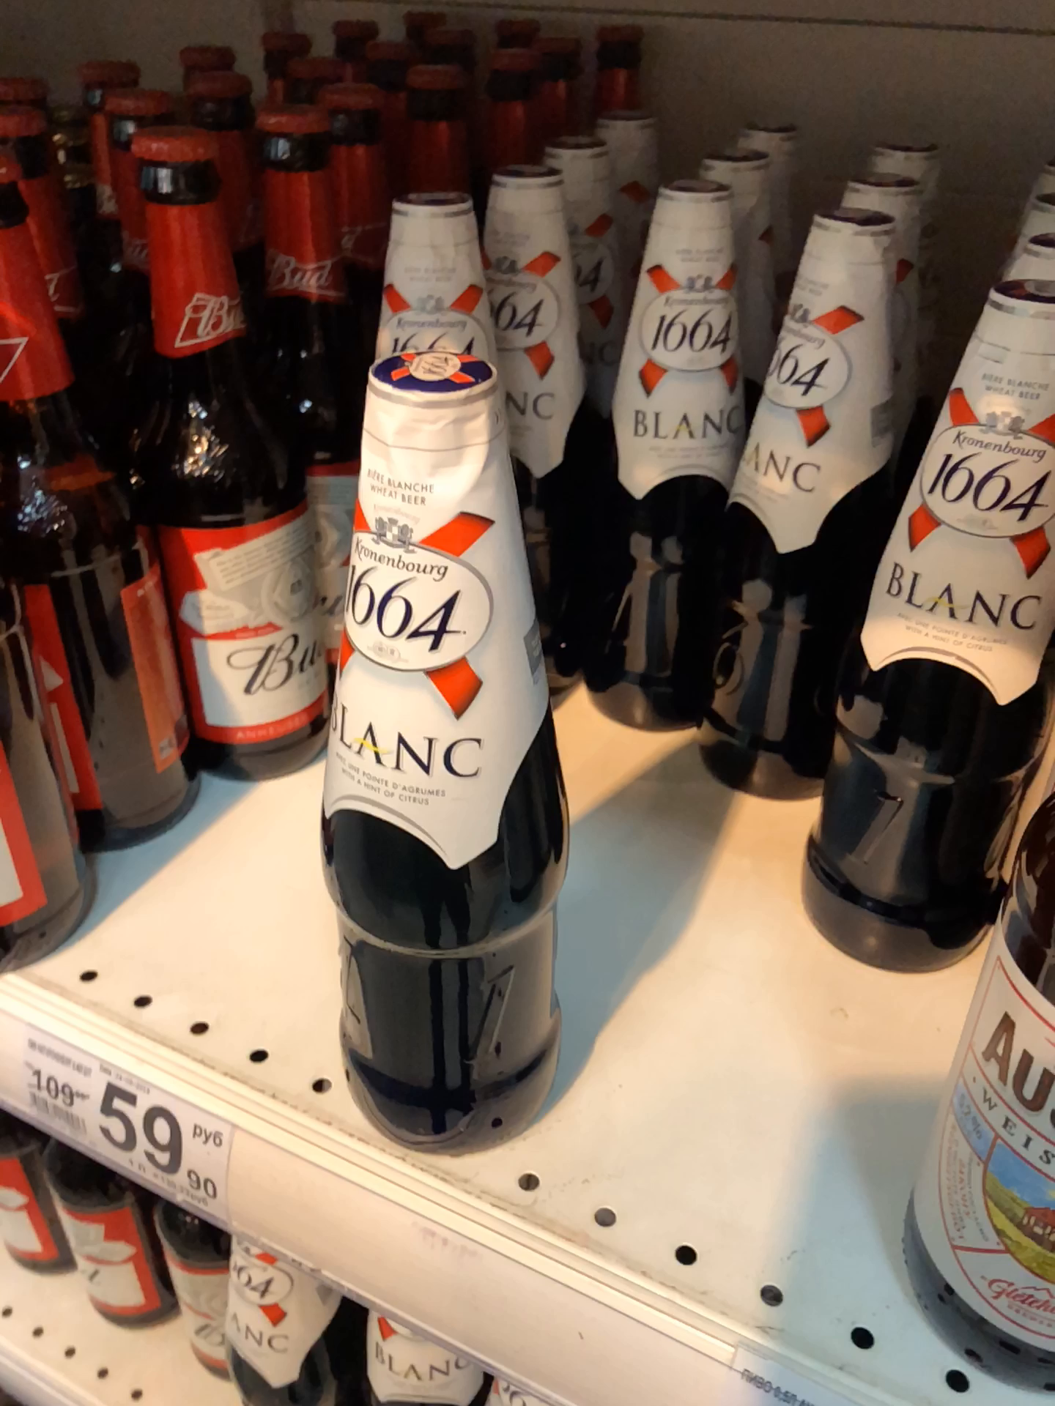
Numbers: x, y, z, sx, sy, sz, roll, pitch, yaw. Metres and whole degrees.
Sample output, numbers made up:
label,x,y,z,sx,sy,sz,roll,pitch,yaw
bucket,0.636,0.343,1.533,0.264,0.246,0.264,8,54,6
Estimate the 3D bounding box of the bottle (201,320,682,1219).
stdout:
label,x,y,z,sx,sy,sz,roll,pitch,yaw
bottle,-0.018,0.027,0.322,0.080,0.234,0.070,19,39,26
